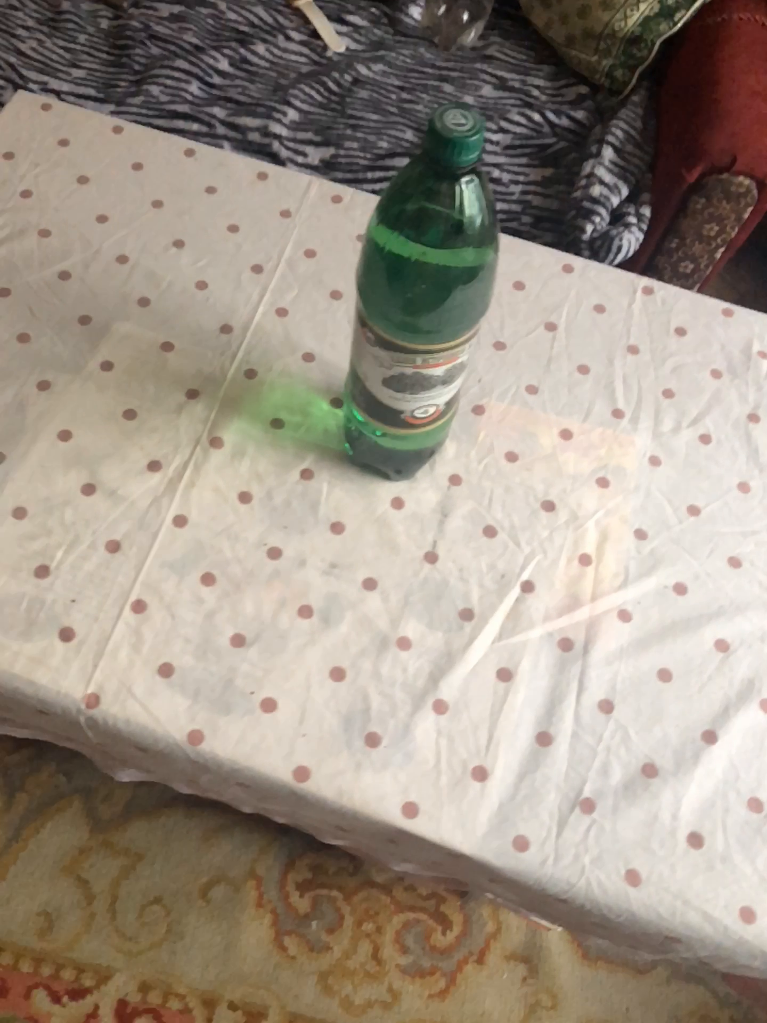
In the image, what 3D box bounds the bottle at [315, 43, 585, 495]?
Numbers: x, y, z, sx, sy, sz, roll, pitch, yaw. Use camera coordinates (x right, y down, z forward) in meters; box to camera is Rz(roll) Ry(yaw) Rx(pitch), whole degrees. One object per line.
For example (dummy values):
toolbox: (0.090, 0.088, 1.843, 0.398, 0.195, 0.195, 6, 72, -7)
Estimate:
bottle: (0.021, -0.130, 0.538, 0.100, 0.279, 0.100, 3, 62, -5)
